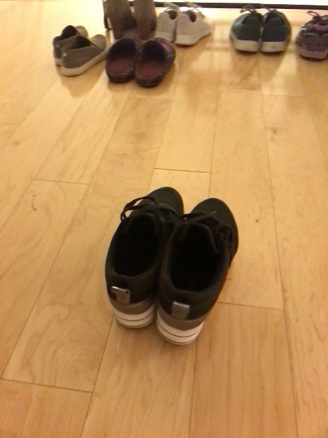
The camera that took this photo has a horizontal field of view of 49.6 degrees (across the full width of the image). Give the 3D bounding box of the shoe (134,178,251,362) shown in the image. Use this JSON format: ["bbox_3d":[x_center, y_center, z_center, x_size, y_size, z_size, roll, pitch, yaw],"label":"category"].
[{"bbox_3d":[0.053,0.062,0.540,0.110,0.099,0.252,12,46,12],"label":"shoe"}]

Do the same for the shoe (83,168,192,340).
[{"bbox_3d":[-0.026,0.040,0.559,0.100,0.099,0.252,8,46,9],"label":"shoe"}]
